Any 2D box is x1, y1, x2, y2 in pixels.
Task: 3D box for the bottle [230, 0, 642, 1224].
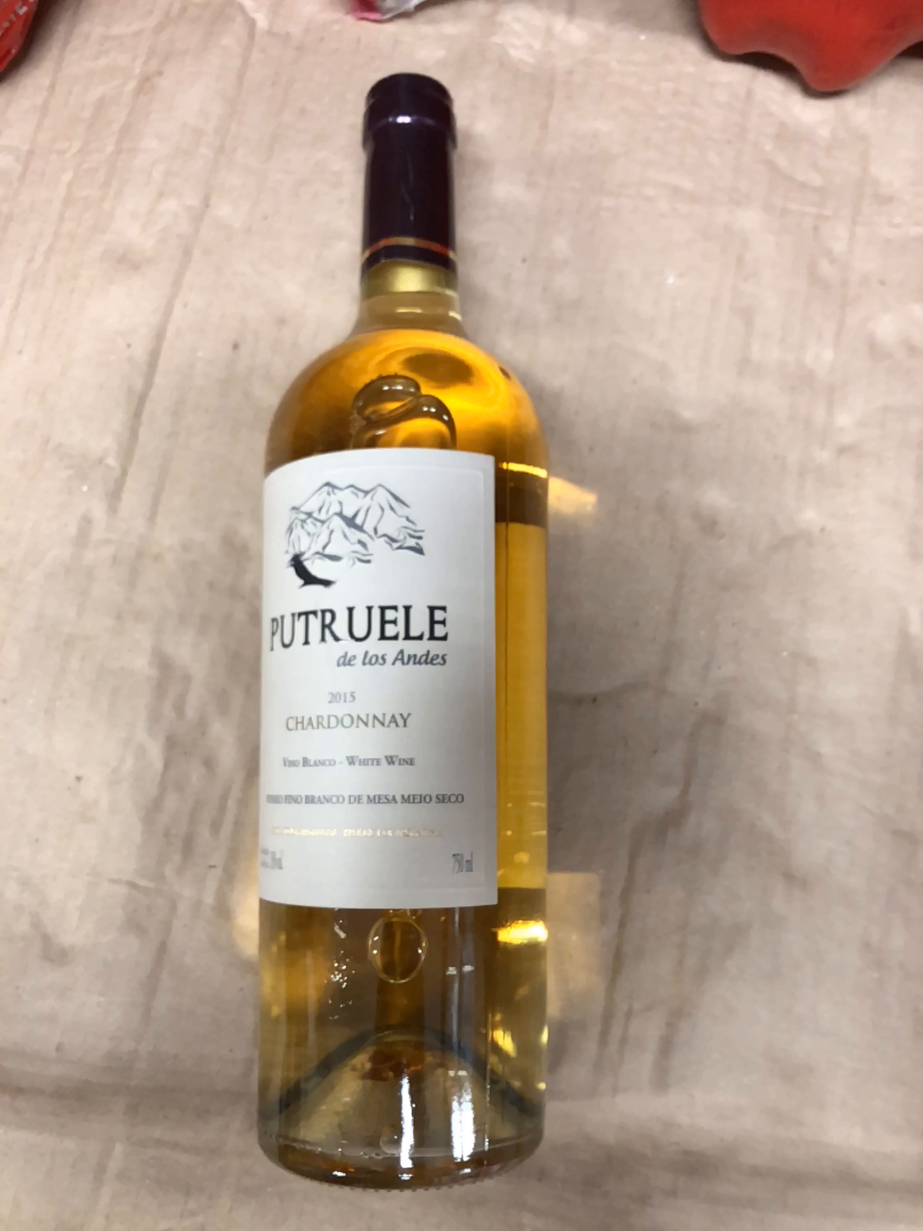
[{"bbox_3d":[-0.004,-0.016,0.282,0.080,0.070,0.300,-5,78,20],"label":"bottle"}]
